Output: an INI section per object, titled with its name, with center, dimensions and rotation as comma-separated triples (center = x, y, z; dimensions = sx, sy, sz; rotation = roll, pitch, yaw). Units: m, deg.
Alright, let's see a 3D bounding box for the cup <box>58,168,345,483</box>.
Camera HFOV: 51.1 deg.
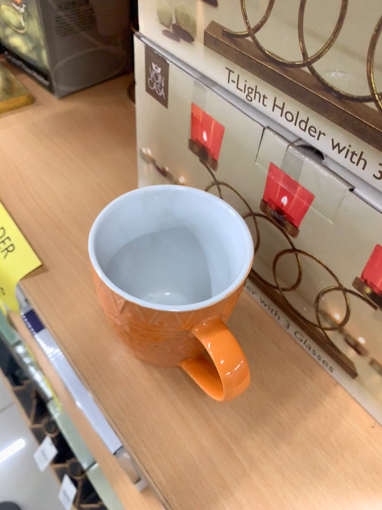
[cup]
center = -0.004, 0.032, 0.213
dimensions = 0.080, 0.080, 0.120
rotation = -22, 57, -23
